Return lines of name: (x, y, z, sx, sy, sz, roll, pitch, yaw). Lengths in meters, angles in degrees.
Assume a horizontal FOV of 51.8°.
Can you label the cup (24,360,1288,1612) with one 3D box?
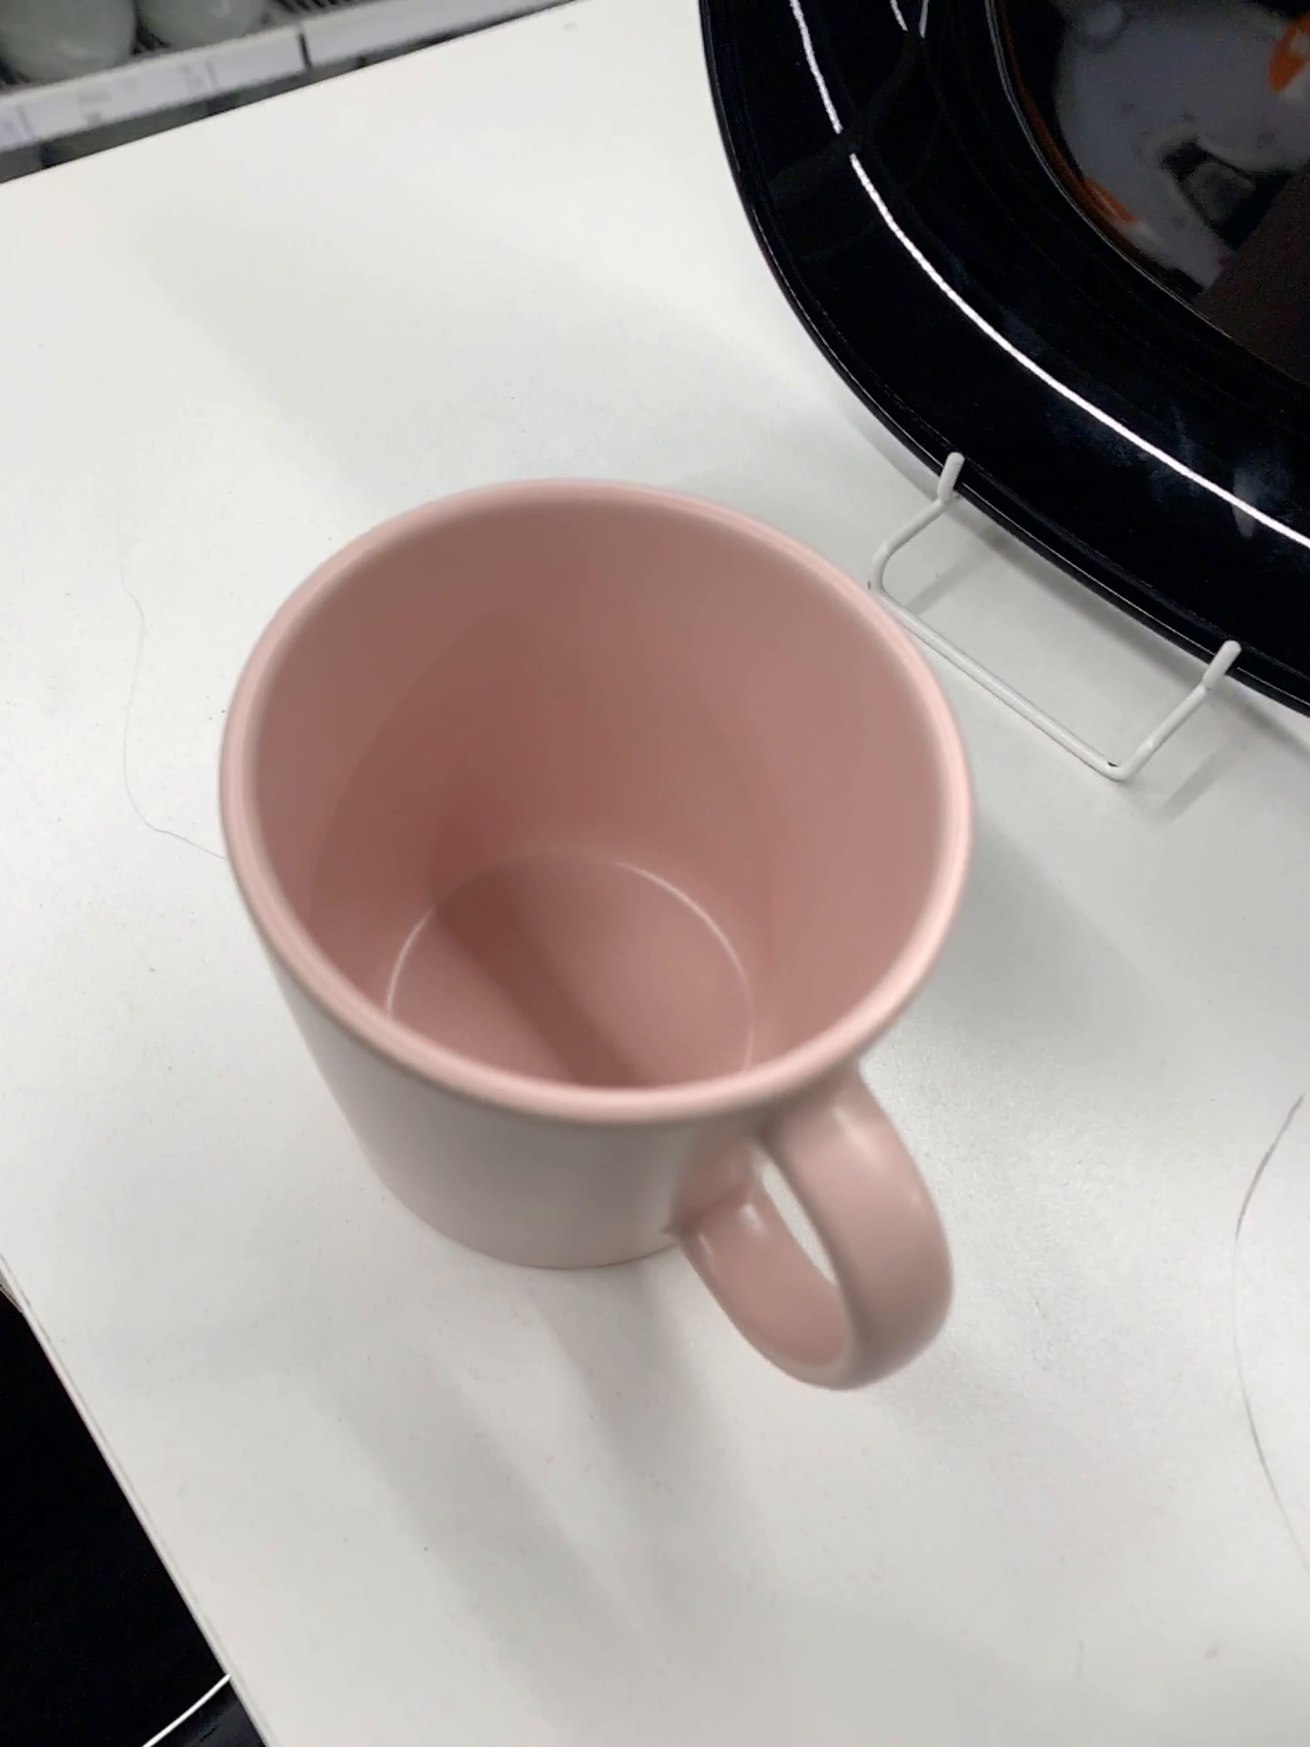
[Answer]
cup: (-0.008, 0.013, 0.182, 0.090, 0.080, 0.120, -25, 67, -21)
